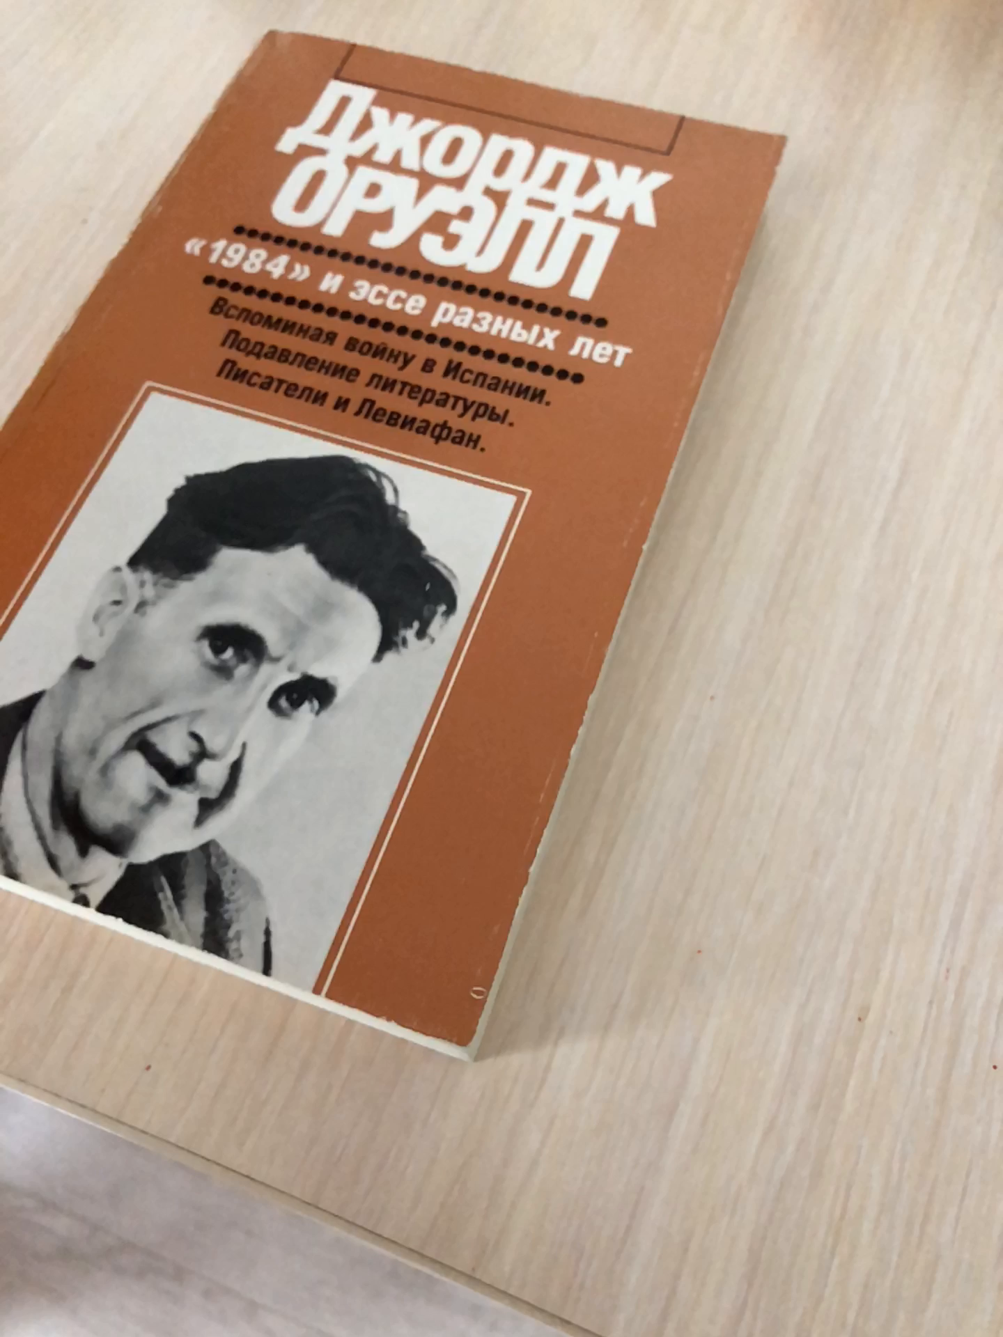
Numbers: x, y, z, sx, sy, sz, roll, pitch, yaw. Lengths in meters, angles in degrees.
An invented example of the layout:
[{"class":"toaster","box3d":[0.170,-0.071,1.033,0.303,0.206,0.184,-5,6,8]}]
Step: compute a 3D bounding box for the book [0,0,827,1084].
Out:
[{"class":"book","box3d":[-0.027,-0.049,0.220,0.130,0.040,0.211,16,65,10]}]
